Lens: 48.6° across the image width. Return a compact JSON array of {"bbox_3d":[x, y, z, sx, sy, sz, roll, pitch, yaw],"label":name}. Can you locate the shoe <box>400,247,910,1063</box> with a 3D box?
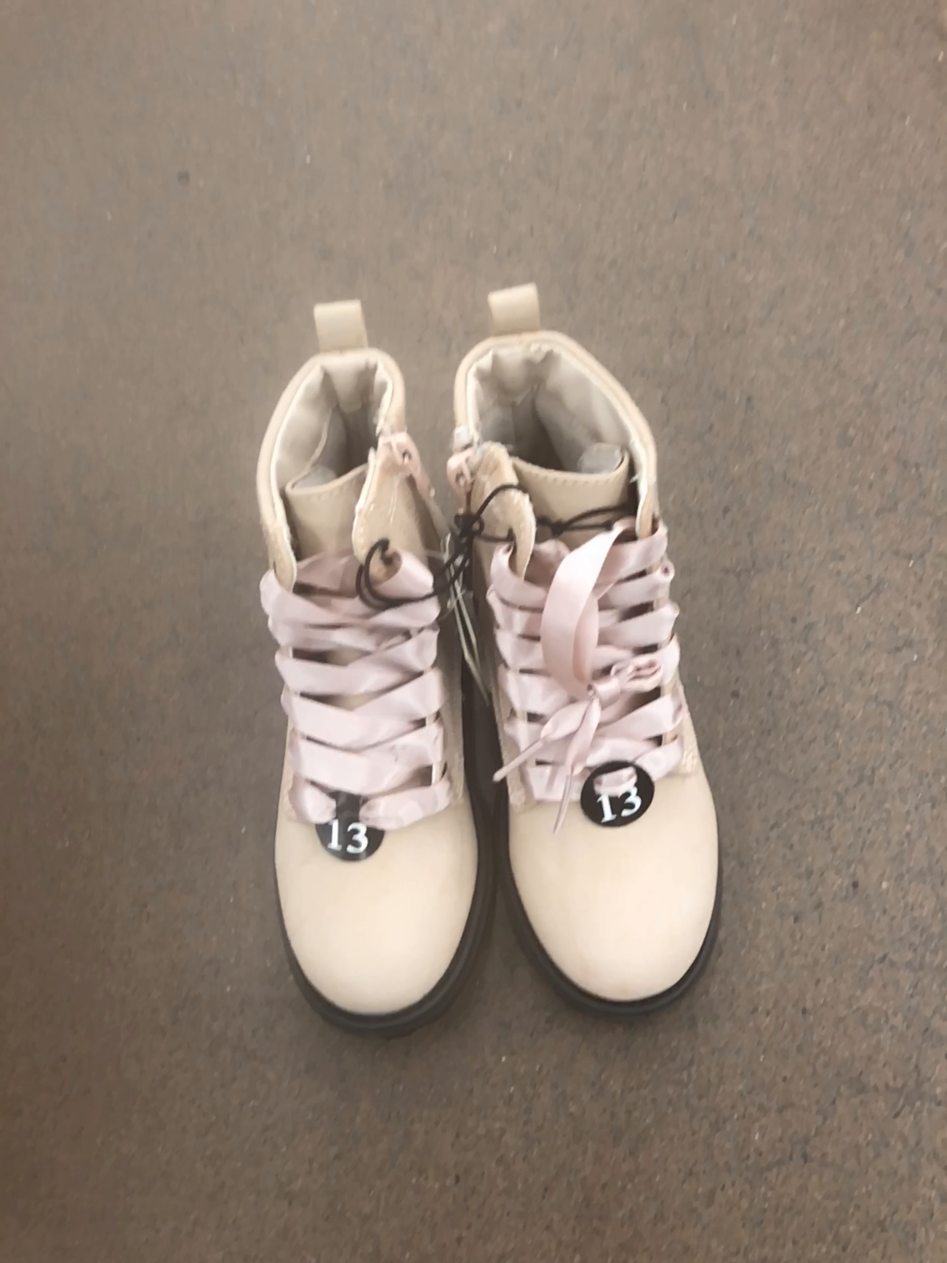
[{"bbox_3d":[0.045,0.018,0.353,0.090,0.150,0.220,-10,69,1],"label":"shoe"}]

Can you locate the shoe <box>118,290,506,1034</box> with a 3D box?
[{"bbox_3d":[-0.039,0.022,0.368,0.090,0.150,0.220,-2,69,4],"label":"shoe"}]
